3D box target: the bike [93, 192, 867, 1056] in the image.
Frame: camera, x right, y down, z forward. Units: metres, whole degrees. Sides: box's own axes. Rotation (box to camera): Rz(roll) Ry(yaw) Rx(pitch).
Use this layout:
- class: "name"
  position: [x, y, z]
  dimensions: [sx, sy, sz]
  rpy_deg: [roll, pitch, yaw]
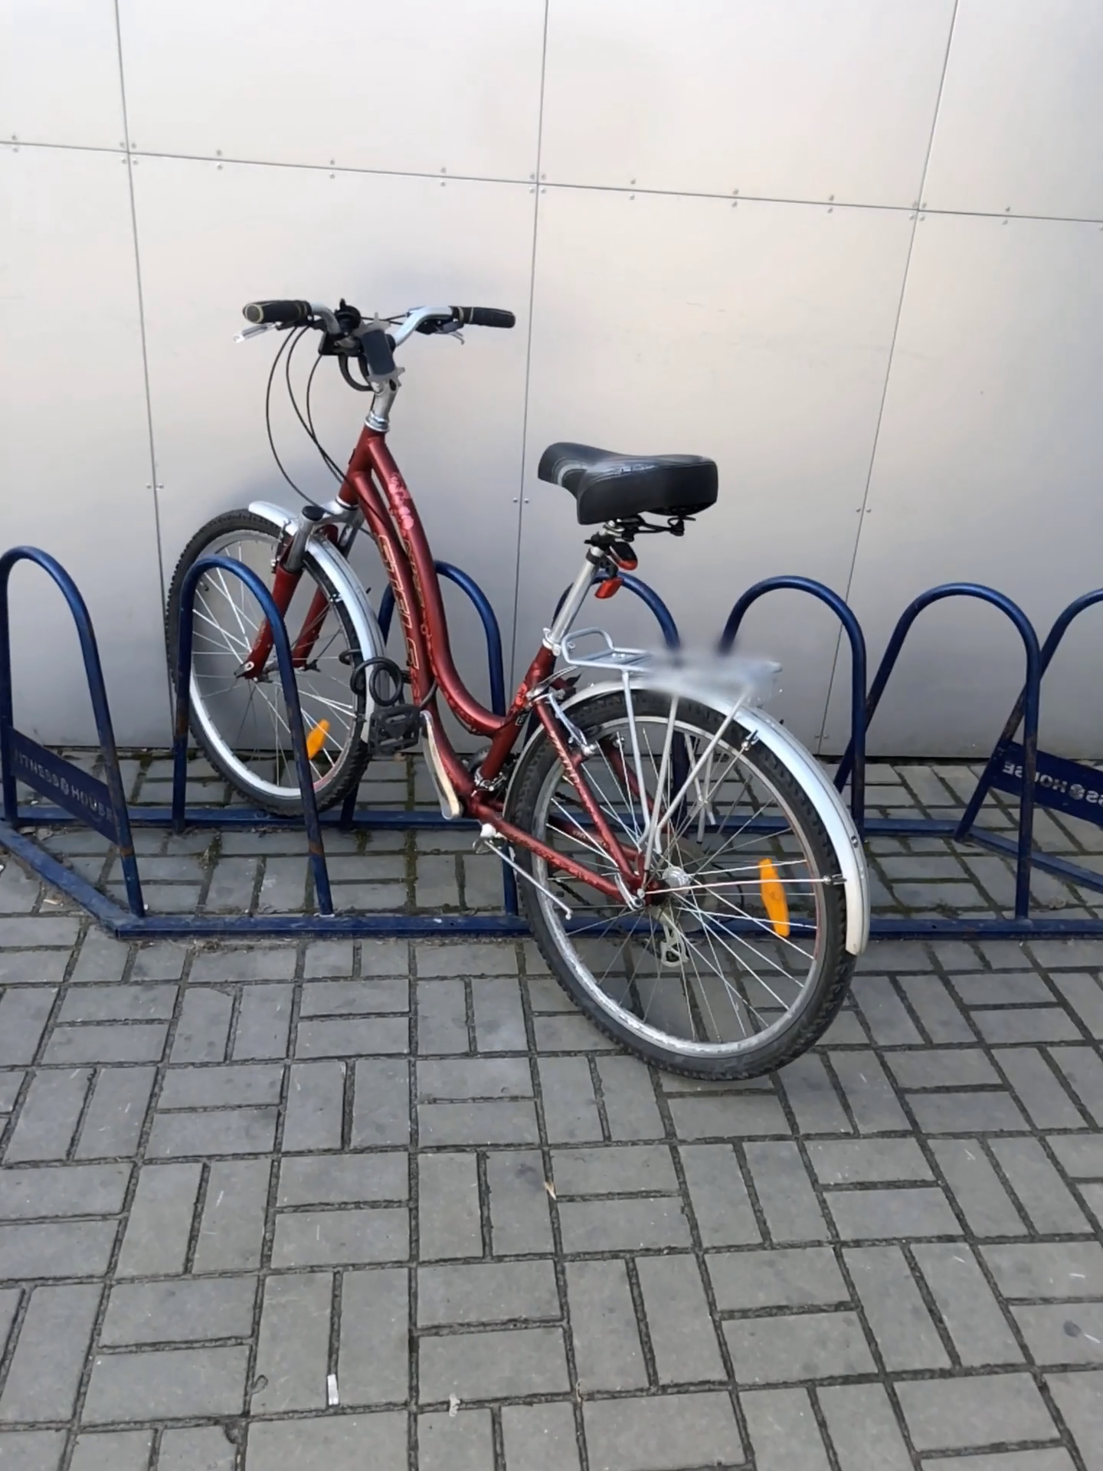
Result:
- class: "bike"
  position: [-0.202, -0.331, 2.191]
  dimensions: [1.309, 0.972, 0.597]
  rpy_deg: [30, 36, 35]
